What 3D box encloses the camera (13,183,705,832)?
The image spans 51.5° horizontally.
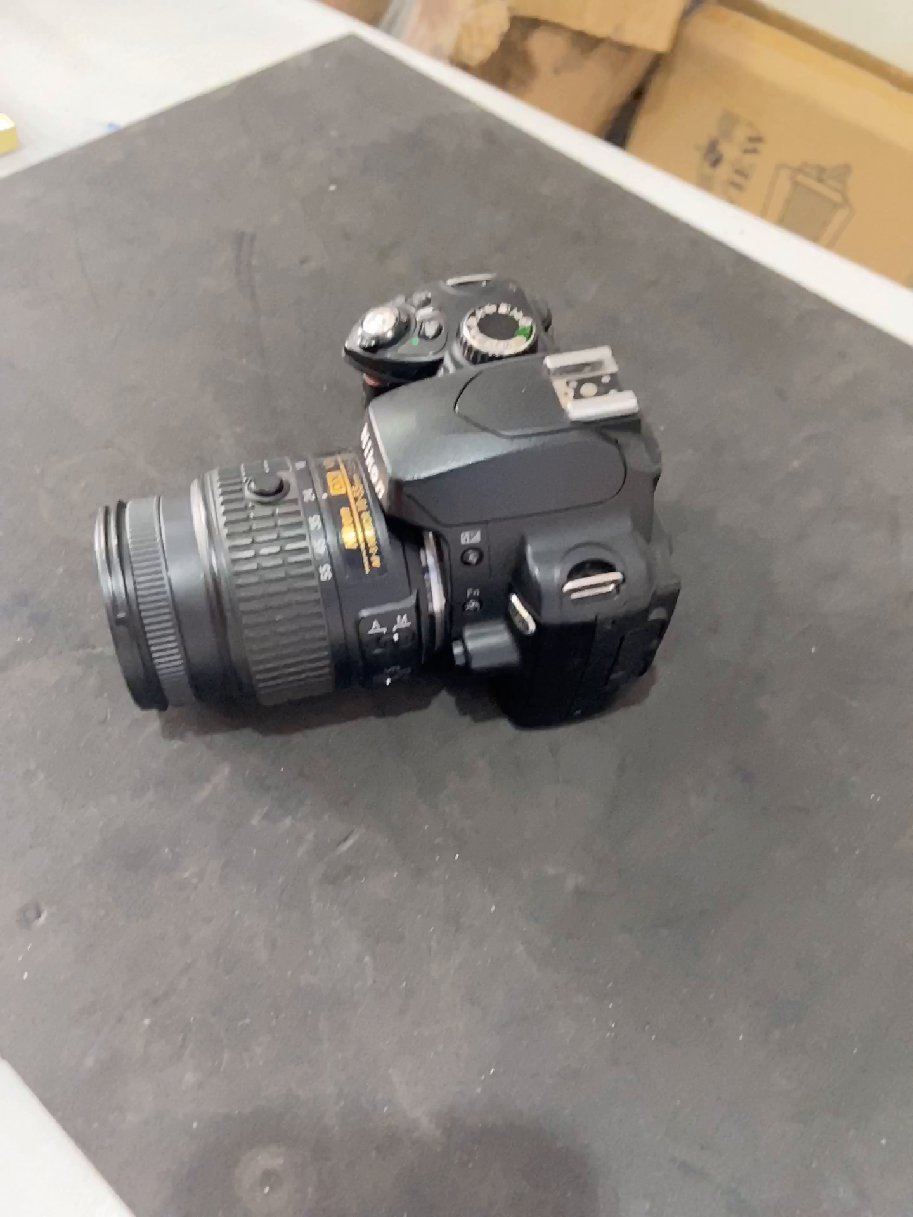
[{"bbox_3d":[-0.033,-0.032,0.265,0.140,0.088,0.130,-13,57,-11],"label":"camera"}]
